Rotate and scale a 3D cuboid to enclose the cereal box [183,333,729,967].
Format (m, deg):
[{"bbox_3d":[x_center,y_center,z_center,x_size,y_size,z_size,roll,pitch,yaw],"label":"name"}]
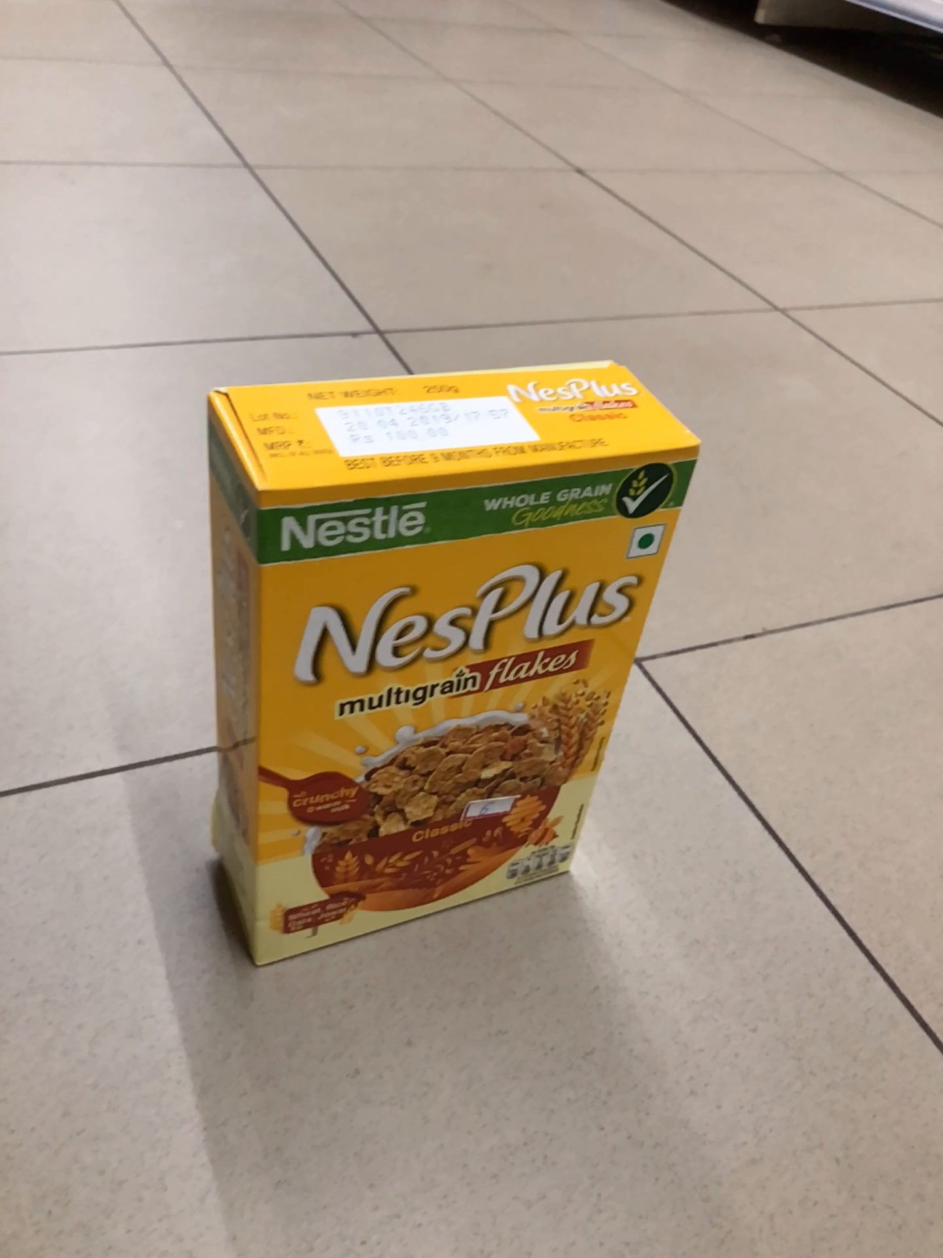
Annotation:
[{"bbox_3d":[-0.016,0.011,0.351,0.140,0.199,0.060,-10,43,-24],"label":"cereal box"}]
